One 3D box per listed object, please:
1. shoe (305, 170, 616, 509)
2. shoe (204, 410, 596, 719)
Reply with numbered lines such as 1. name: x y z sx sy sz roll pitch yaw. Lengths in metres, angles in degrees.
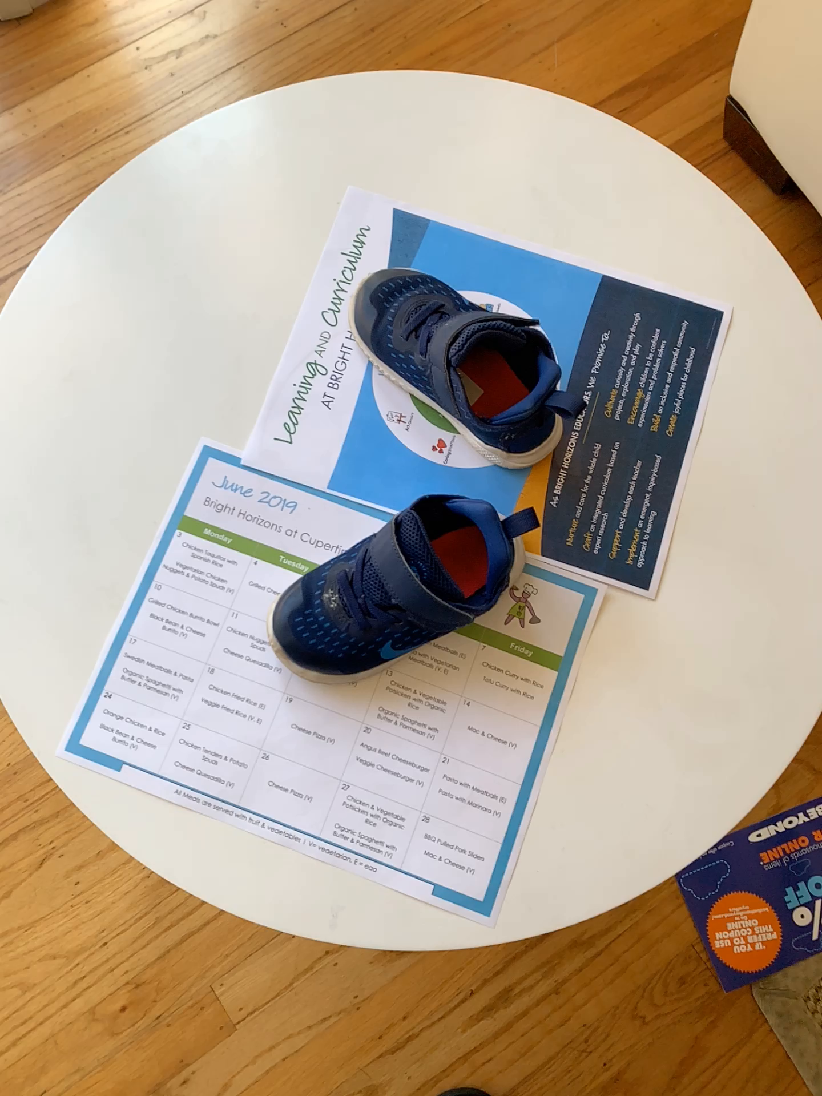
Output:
1. shoe: 0.026 -0.125 0.531 0.080 0.110 0.170 -44 82 -9
2. shoe: -0.006 0.016 0.456 0.170 0.110 0.080 -27 79 -6
